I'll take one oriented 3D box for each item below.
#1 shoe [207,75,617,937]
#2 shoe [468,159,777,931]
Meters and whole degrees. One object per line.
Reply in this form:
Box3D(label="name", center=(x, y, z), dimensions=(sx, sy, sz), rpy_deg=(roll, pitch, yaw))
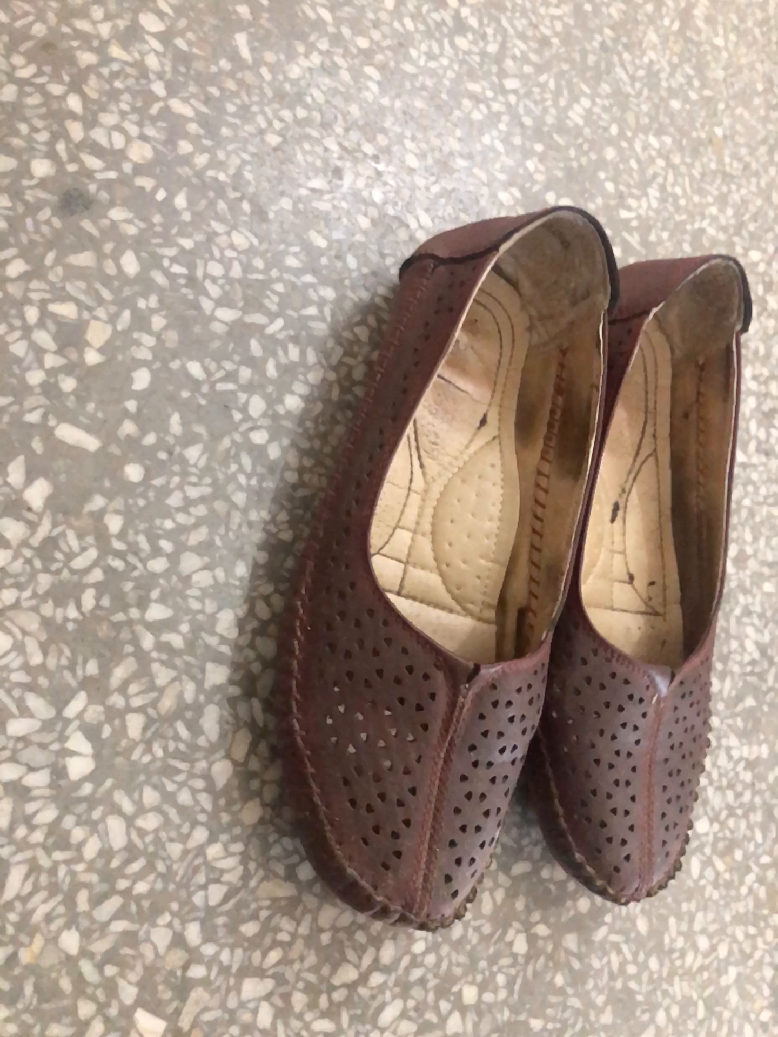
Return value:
Box3D(label="shoe", center=(0.014, -0.005, 0.287), dimensions=(0.090, 0.060, 0.250), rpy_deg=(15, 72, -26))
Box3D(label="shoe", center=(0.089, 0.008, 0.320), dimensions=(0.090, 0.060, 0.250), rpy_deg=(12, 74, -27))
